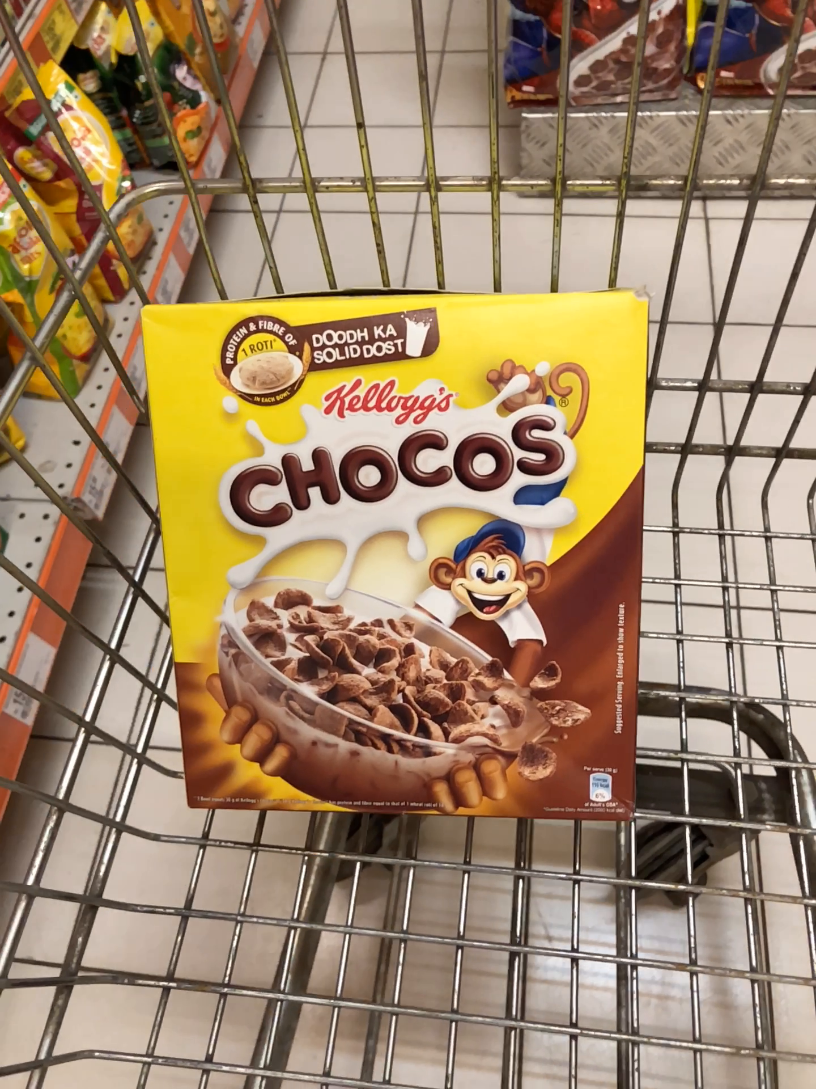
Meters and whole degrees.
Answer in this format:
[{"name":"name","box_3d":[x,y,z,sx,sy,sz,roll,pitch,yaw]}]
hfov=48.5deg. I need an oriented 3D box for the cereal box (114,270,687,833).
[{"name":"cereal box","box_3d":[0.000,0.001,0.355,0.190,0.070,0.200,0,103,5]}]
